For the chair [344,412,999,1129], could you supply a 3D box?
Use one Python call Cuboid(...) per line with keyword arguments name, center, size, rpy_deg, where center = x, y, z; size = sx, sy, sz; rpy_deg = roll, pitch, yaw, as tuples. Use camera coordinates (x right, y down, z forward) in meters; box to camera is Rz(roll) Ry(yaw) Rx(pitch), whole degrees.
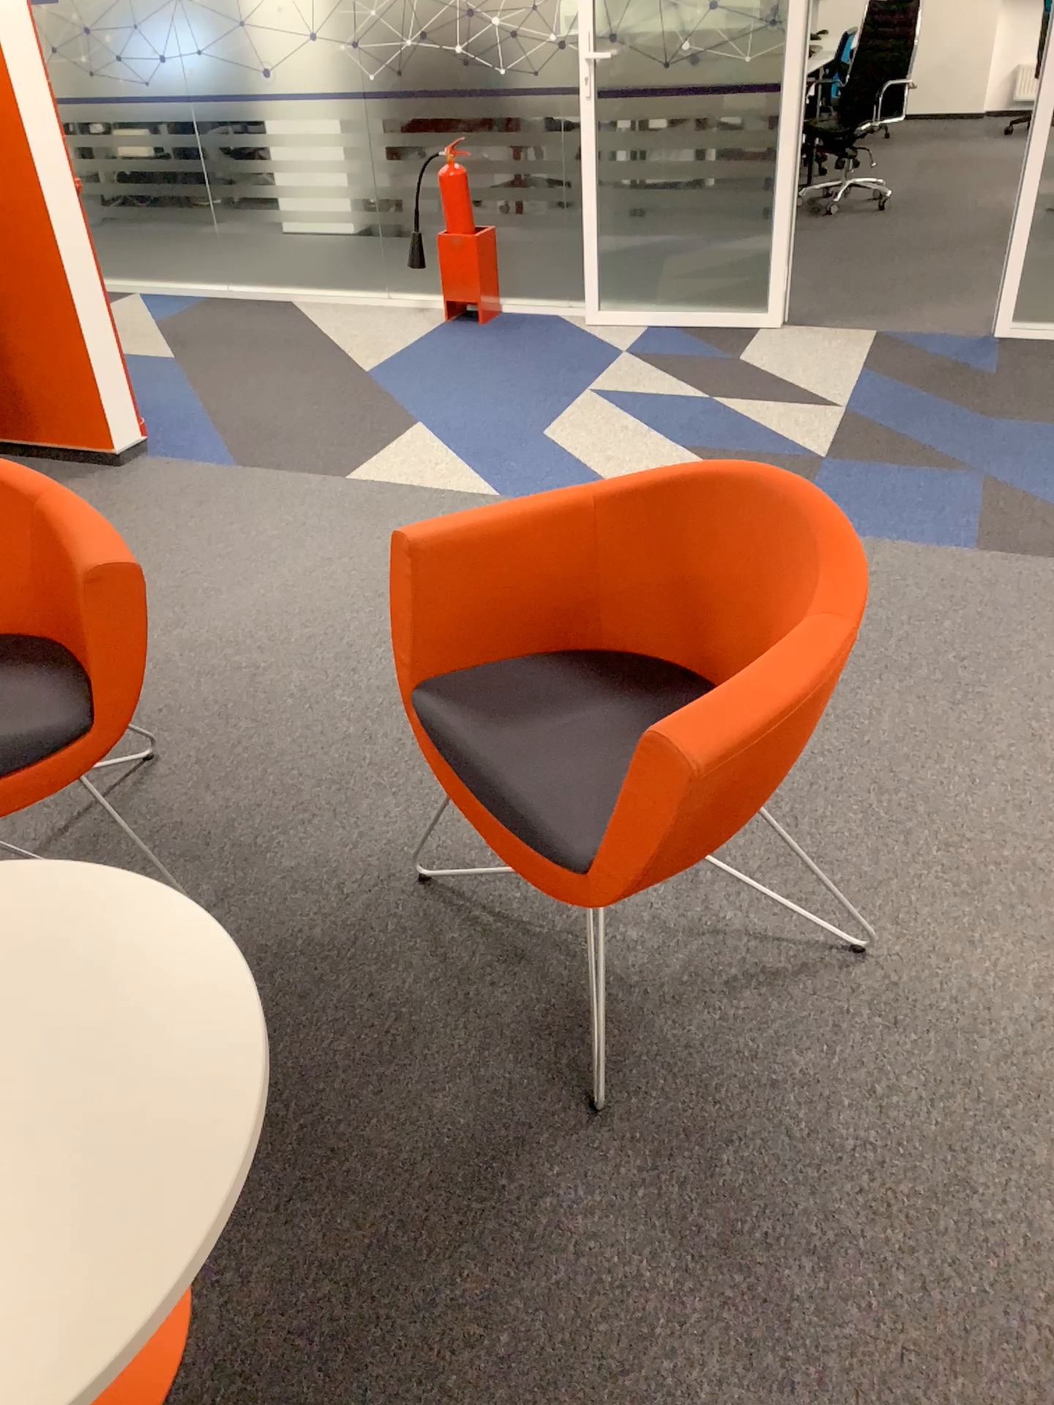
Cuboid(name="chair", center=(0.182, 0.051, 1.657), size=(0.621, 0.706, 0.643), rpy_deg=(-21, 38, -24))
